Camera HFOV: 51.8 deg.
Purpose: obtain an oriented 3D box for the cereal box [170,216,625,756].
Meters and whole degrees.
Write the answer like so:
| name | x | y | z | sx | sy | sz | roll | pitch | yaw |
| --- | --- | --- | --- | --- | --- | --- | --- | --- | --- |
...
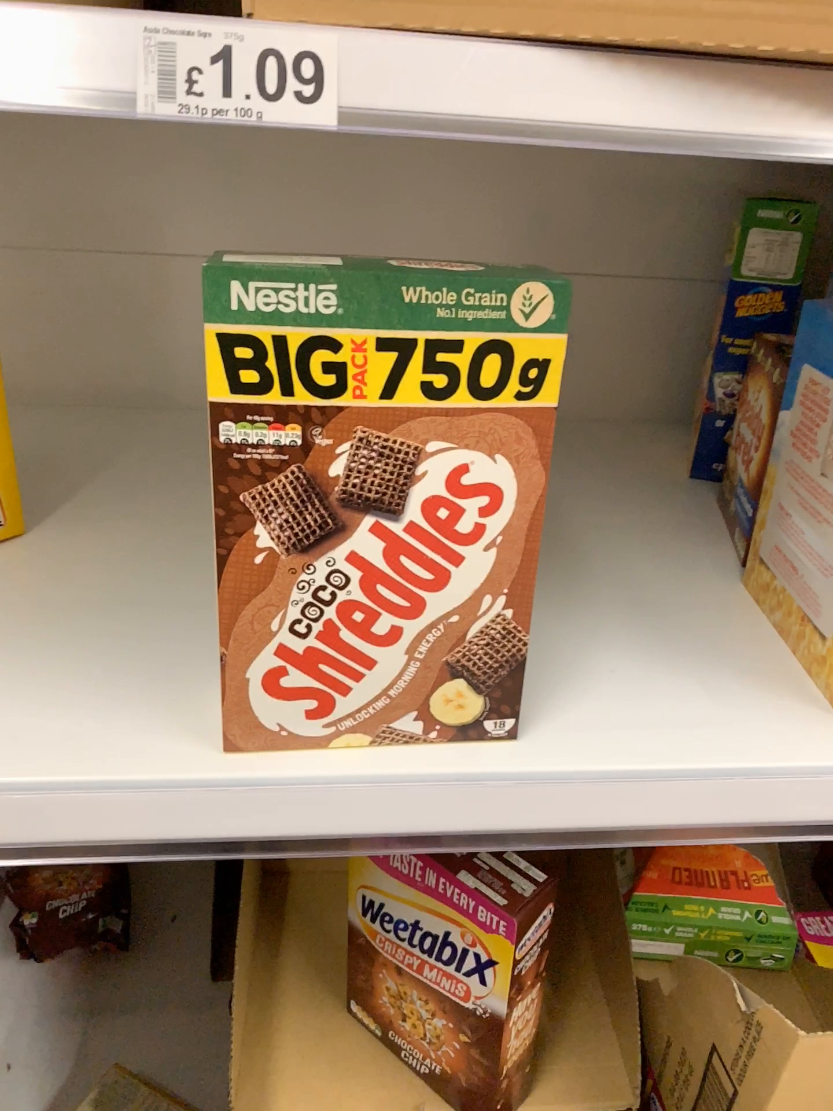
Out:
| name | x | y | z | sx | sy | sz | roll | pitch | yaw |
| --- | --- | --- | --- | --- | --- | --- | --- | --- | --- |
| cereal box | -0.019 | -0.031 | 0.491 | 0.210 | 0.287 | 0.081 | 0 | 26 | -8 |
